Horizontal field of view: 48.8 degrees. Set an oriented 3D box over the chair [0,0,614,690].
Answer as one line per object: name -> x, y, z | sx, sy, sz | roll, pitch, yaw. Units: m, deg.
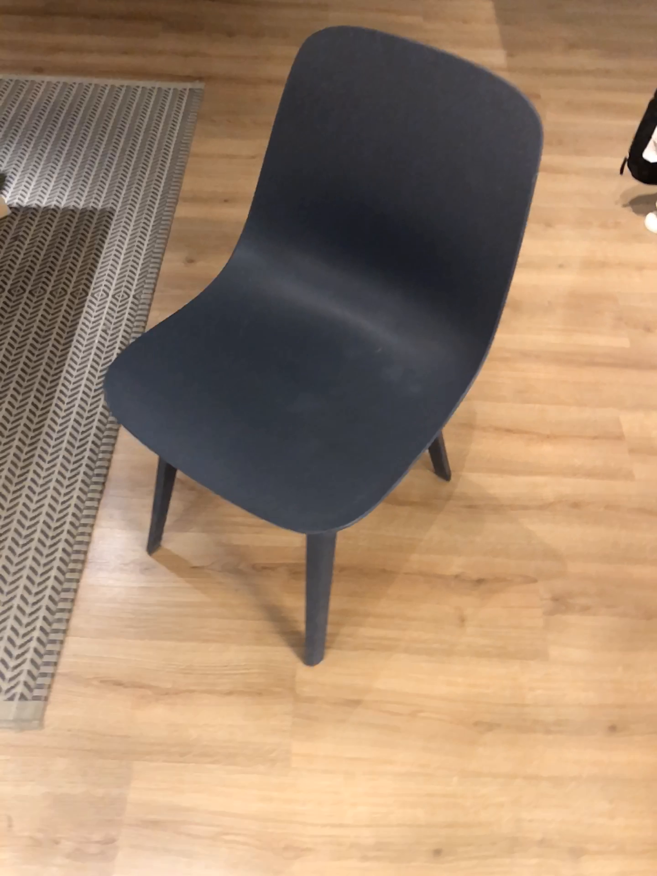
chair -> -0.030, -0.110, 1.073 | 0.470, 0.728, 0.561 | 30, 58, 18
